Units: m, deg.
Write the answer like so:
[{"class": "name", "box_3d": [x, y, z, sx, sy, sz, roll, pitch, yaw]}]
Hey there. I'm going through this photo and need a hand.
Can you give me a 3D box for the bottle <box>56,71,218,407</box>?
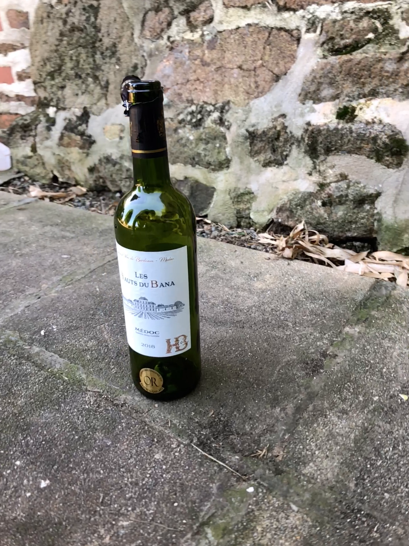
[{"class": "bottle", "box_3d": [-0.047, -0.024, 0.414, 0.090, 0.288, 0.080, 7, 28, 19]}]
